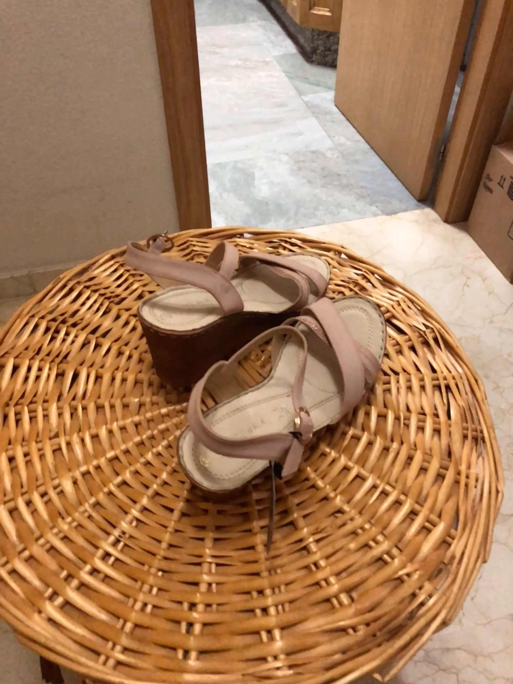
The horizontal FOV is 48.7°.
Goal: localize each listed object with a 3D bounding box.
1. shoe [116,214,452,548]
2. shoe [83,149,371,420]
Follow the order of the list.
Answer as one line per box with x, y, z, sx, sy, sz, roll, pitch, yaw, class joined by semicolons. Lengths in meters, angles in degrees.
0.033;0.016;0.454;0.100;0.104;0.261;34;56;28;shoe
-0.015;-0.066;0.527;0.112;0.100;0.251;31;54;26;shoe
